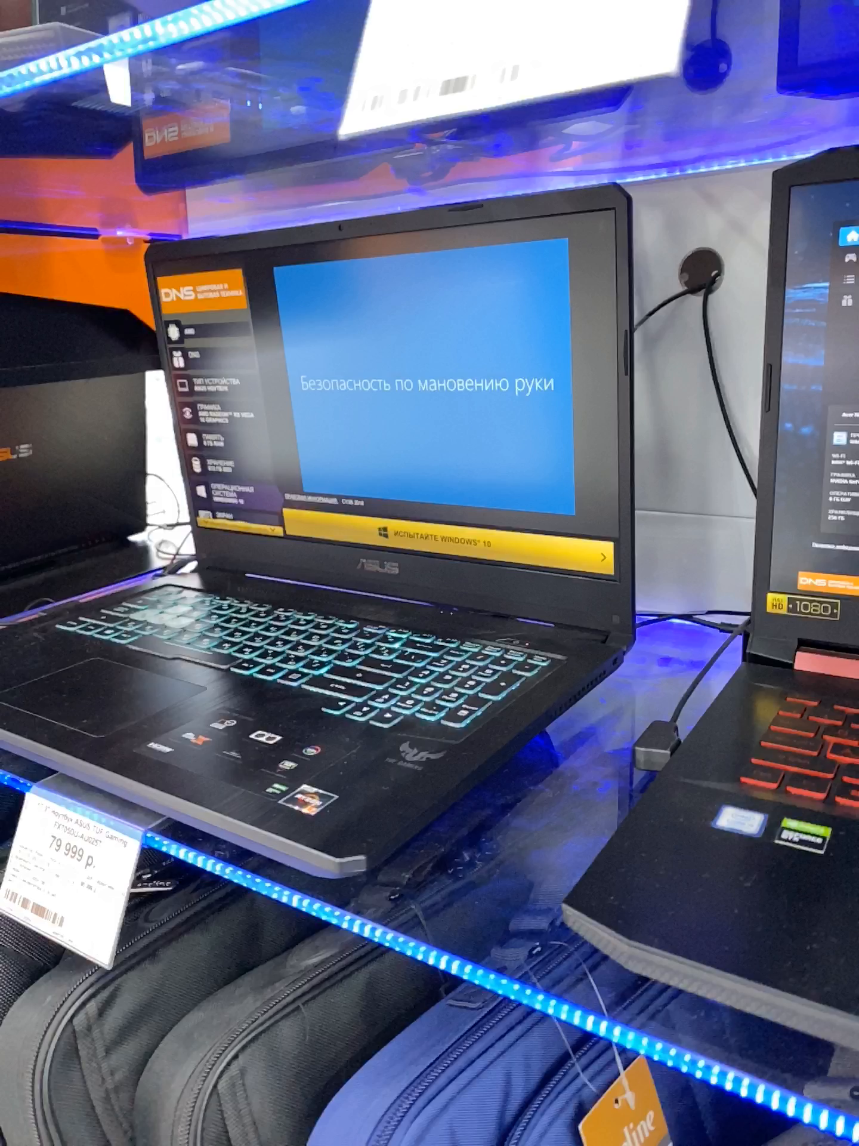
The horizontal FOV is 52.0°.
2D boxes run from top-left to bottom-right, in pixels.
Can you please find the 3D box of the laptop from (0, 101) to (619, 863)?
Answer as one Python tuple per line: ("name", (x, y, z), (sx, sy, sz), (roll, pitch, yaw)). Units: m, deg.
("laptop", (-0.126, -0.072, 0.522), (0.398, 0.265, 0.269), (7, 18, 33))
